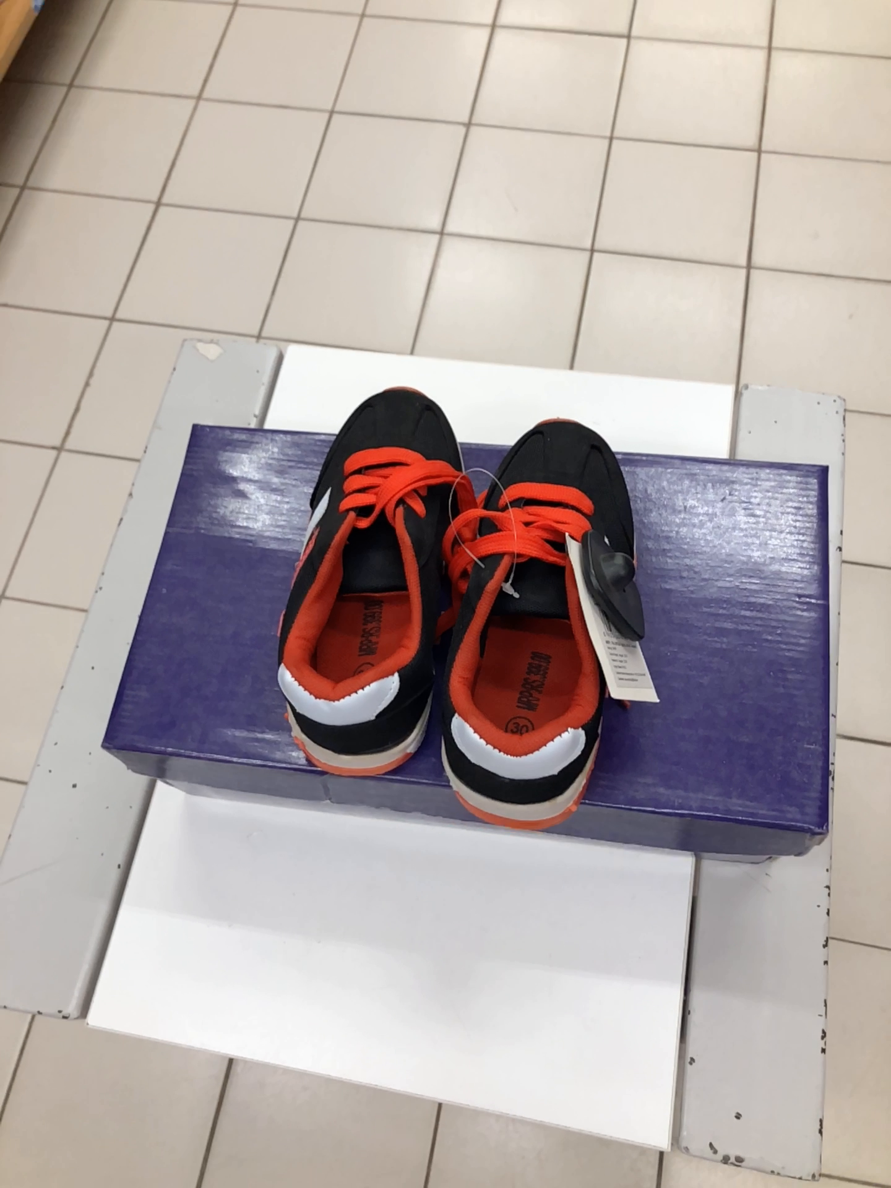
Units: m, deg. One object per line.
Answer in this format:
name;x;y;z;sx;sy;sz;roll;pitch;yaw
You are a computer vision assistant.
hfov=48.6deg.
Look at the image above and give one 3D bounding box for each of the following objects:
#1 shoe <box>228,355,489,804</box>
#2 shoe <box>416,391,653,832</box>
shoe;-0.031;-0.005;0.467;0.080;0.100;0.181;6;67;6
shoe;0.043;0.010;0.453;0.080;0.100;0.171;6;67;6
